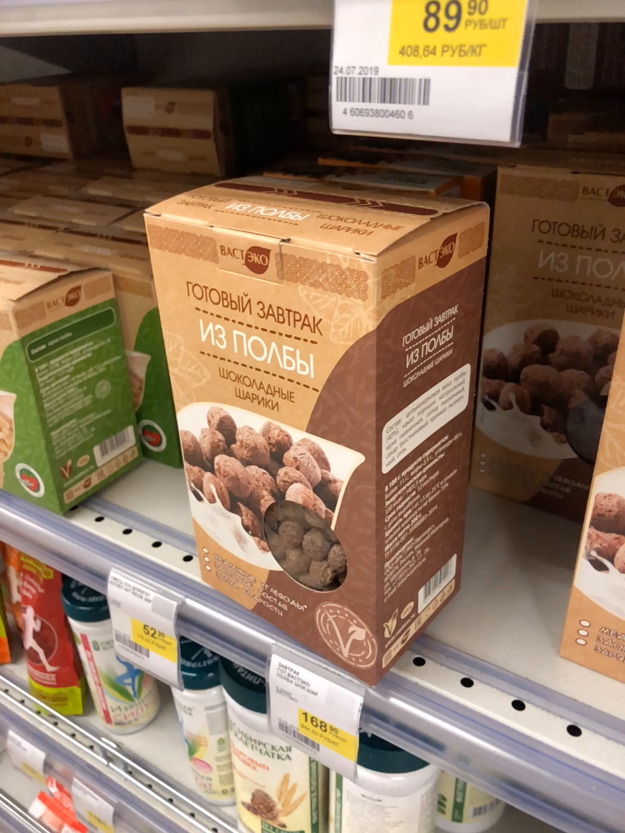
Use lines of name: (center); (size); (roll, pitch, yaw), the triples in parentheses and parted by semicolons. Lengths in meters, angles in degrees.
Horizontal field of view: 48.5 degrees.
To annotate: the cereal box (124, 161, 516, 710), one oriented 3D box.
cereal box: (0.003, 0.004, 0.320); (0.130, 0.209, 0.080); (21, 37, 34)
